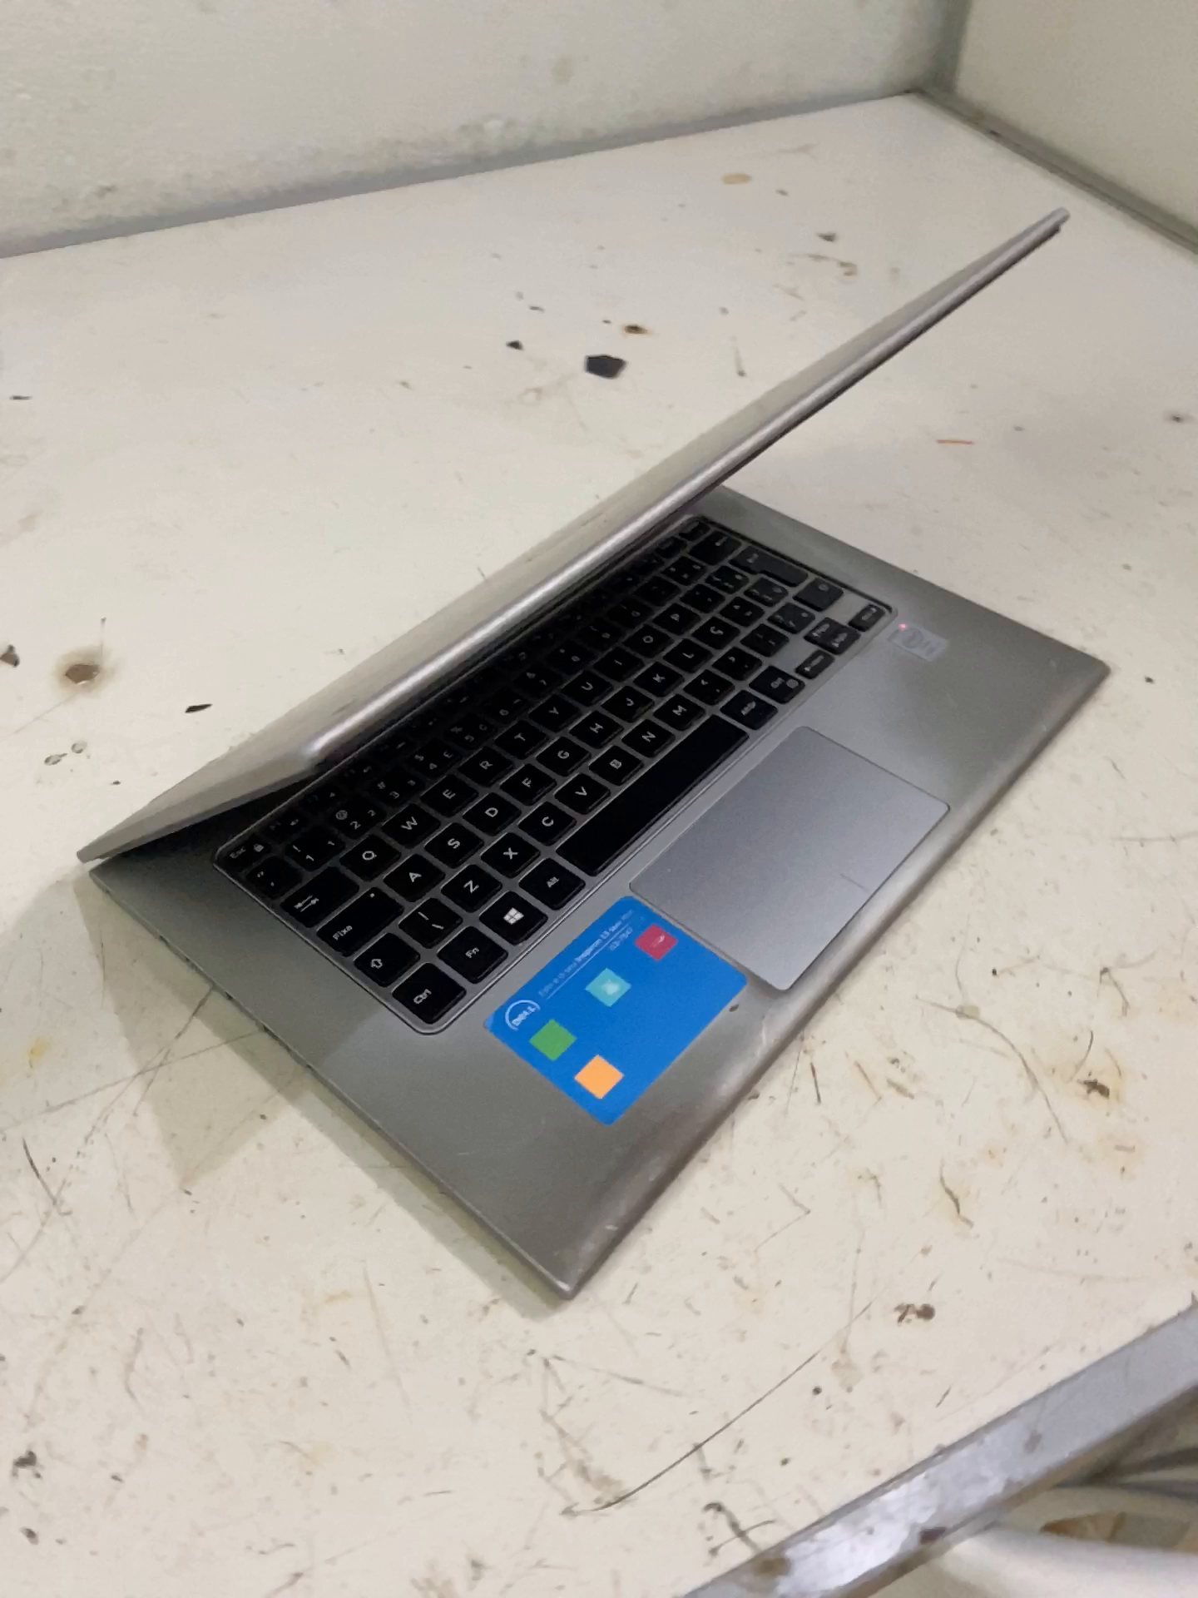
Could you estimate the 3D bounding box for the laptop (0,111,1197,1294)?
[{"bbox_3d":[0.017,-0.068,0.399,0.218,0.155,0.328,32,55,26],"label":"laptop"}]
